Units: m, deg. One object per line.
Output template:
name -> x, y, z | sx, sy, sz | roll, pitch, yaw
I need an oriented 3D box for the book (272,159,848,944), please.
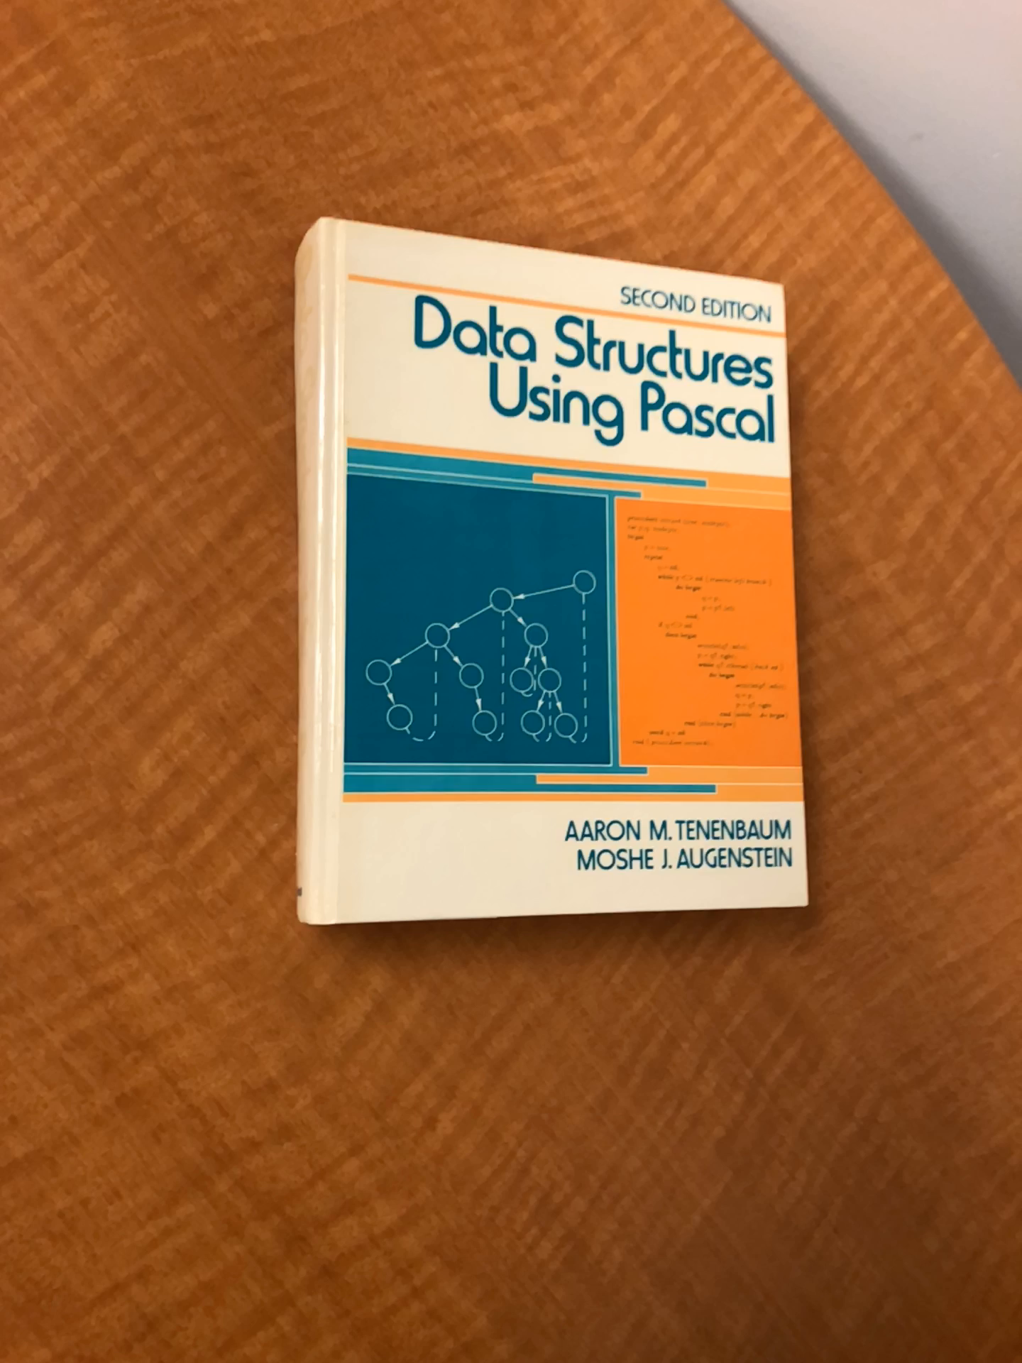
book -> 0.016, -0.043, 0.417 | 0.200, 0.050, 0.260 | 1, 82, -17
